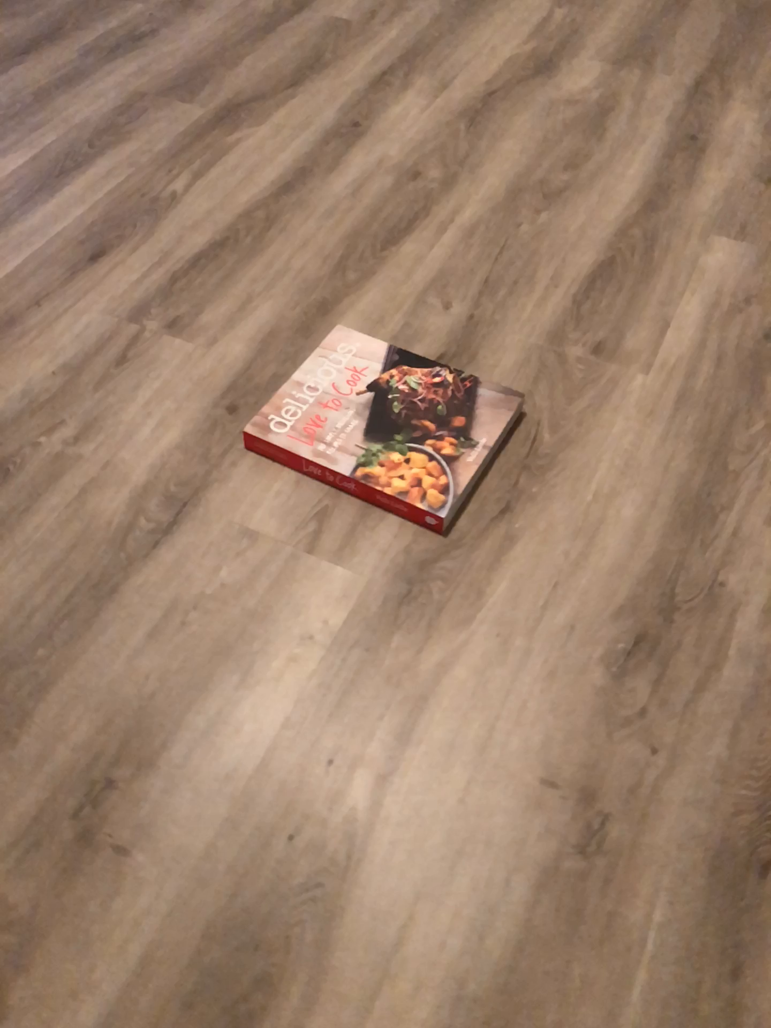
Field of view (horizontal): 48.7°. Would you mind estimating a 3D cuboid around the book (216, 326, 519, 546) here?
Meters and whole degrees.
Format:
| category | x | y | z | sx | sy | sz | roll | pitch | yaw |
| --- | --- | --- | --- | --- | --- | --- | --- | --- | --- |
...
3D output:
| category | x | y | z | sx | sy | sz | roll | pitch | yaw |
| --- | --- | --- | --- | --- | --- | --- | --- | --- | --- |
| book | -0.019 | -0.106 | 1.027 | 0.290 | 0.030 | 0.222 | 24 | 56 | 18 |
